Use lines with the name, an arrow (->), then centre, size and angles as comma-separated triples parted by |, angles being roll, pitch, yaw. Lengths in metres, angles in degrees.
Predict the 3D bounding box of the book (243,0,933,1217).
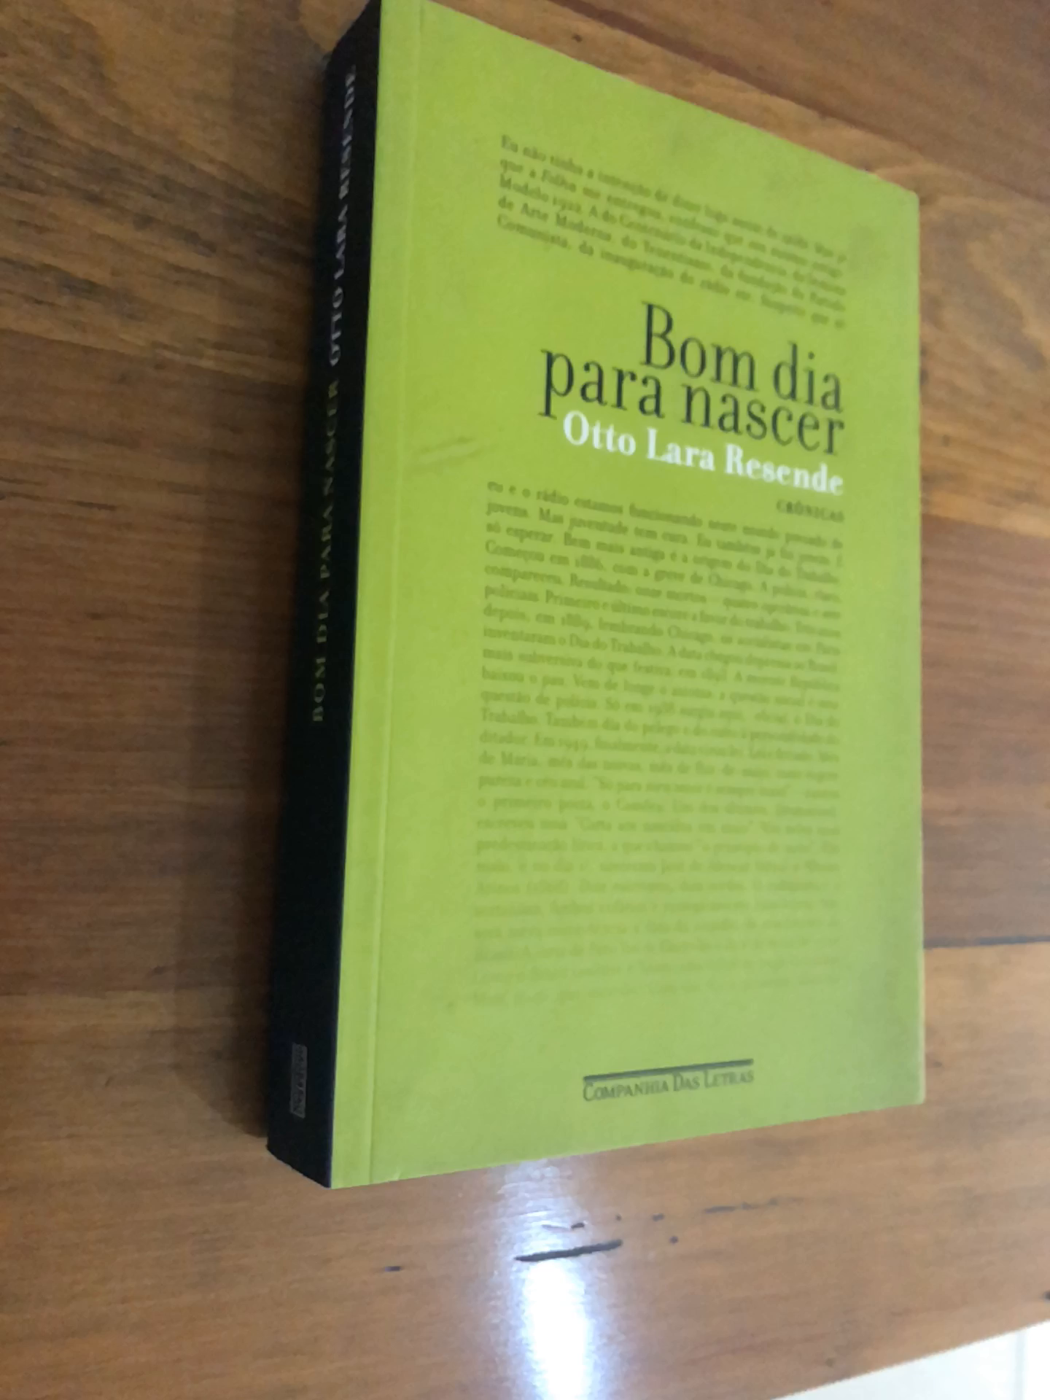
book -> 0.020, -0.020, 0.235 | 0.136, 0.030, 0.208 | 5, 83, -30
